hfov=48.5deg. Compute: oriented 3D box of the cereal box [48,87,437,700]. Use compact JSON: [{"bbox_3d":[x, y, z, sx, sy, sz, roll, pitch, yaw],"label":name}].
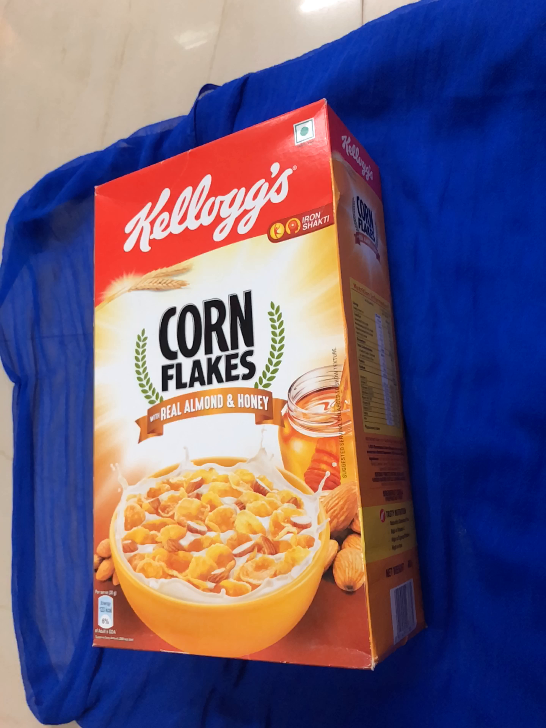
[{"bbox_3d":[-0.029,0.020,0.381,0.210,0.090,0.300,-9,78,27],"label":"cereal box"}]
